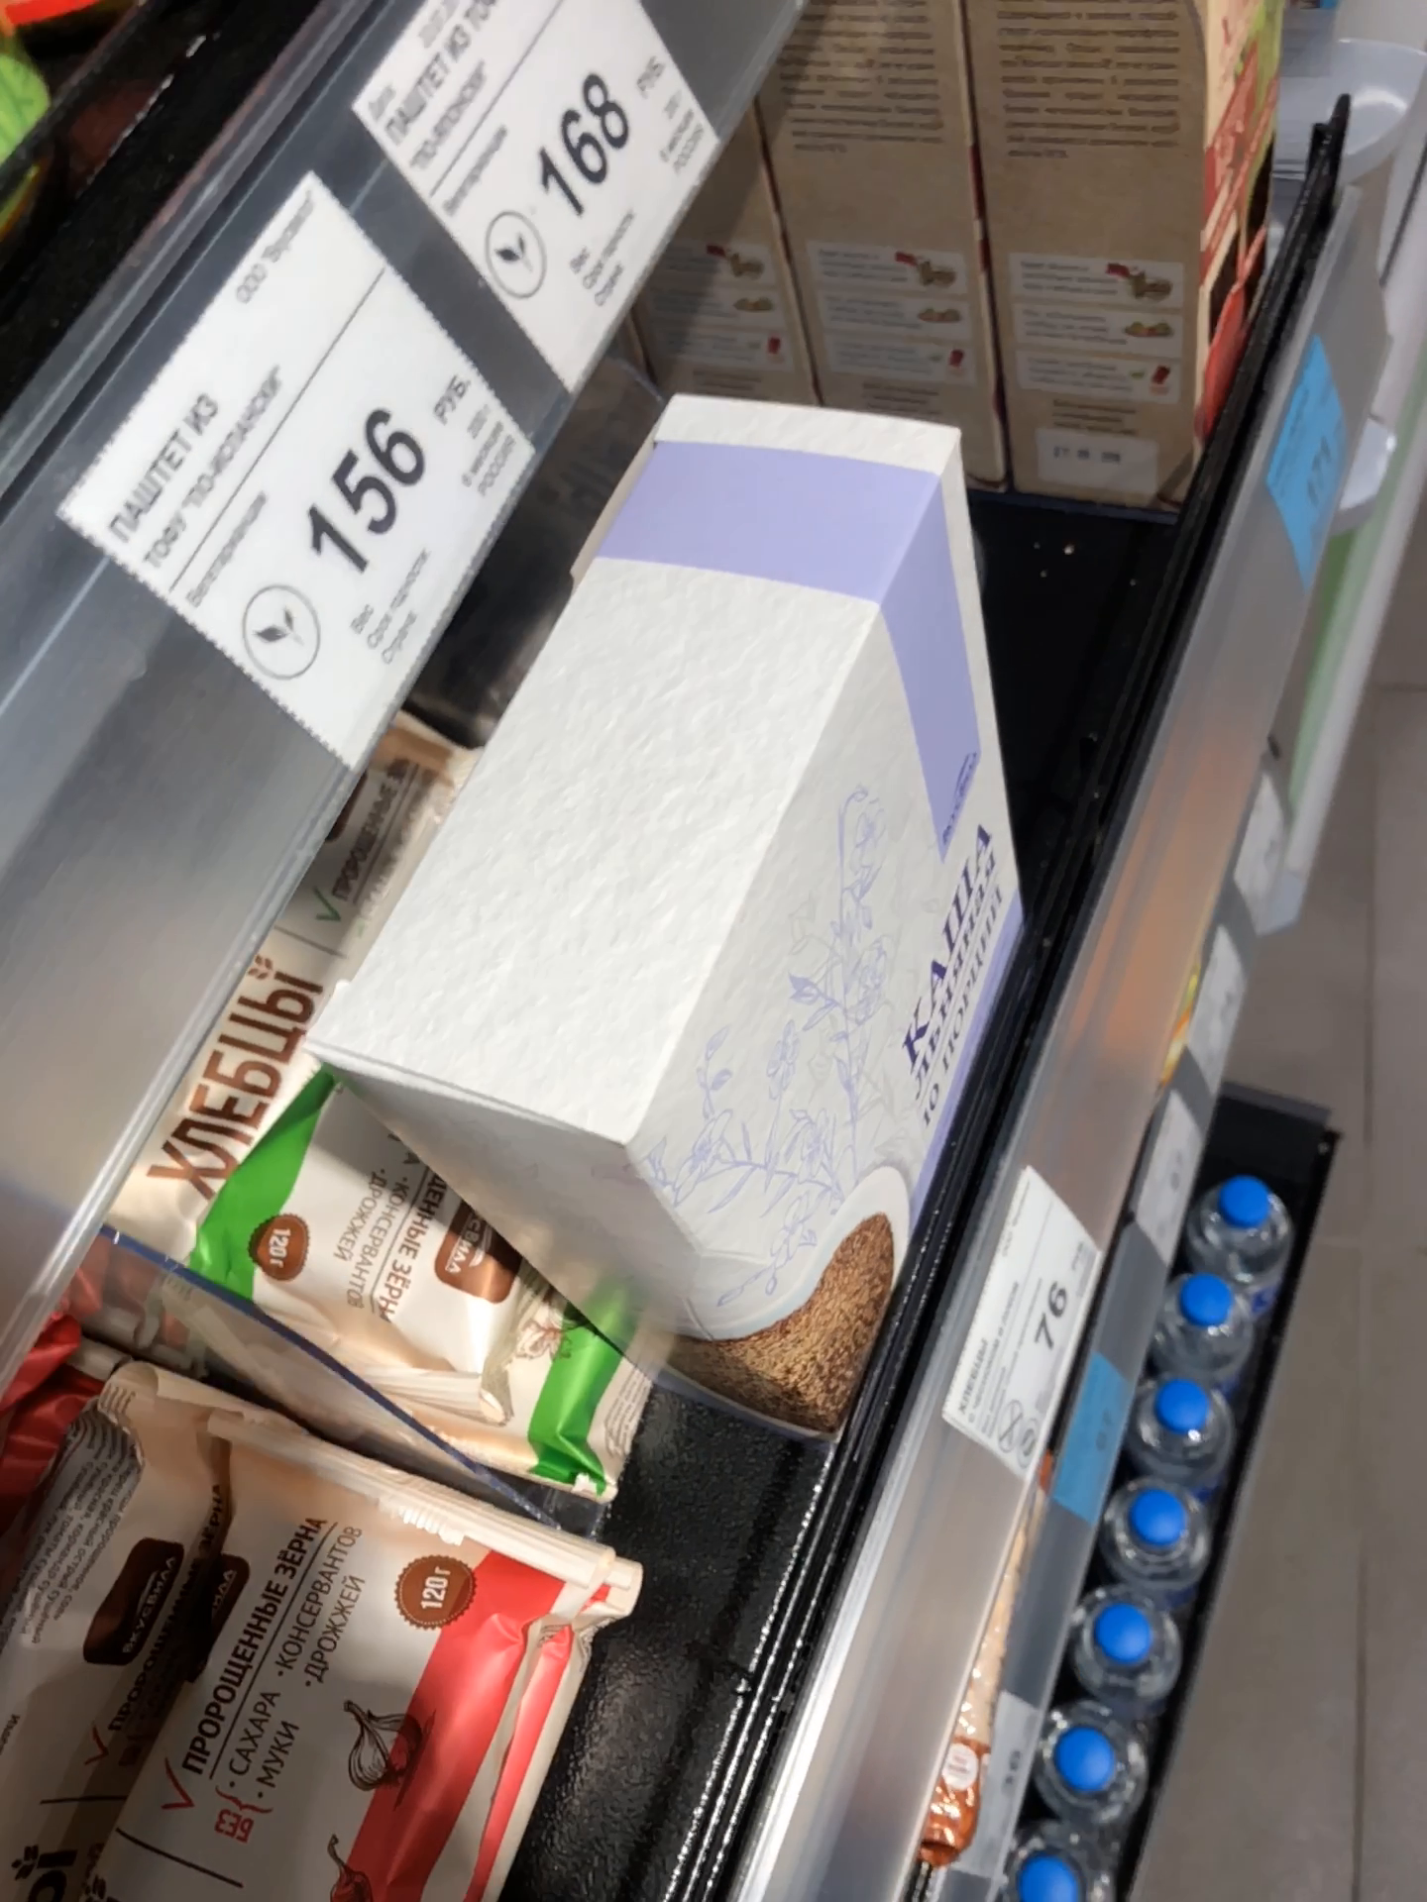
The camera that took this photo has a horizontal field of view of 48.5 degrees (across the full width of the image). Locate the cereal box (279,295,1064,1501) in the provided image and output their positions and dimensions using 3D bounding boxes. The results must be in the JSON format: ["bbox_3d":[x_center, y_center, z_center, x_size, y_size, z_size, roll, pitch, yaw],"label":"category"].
[{"bbox_3d":[0.016,0.006,0.305,0.050,0.189,0.150,15,66,22],"label":"cereal box"}]
